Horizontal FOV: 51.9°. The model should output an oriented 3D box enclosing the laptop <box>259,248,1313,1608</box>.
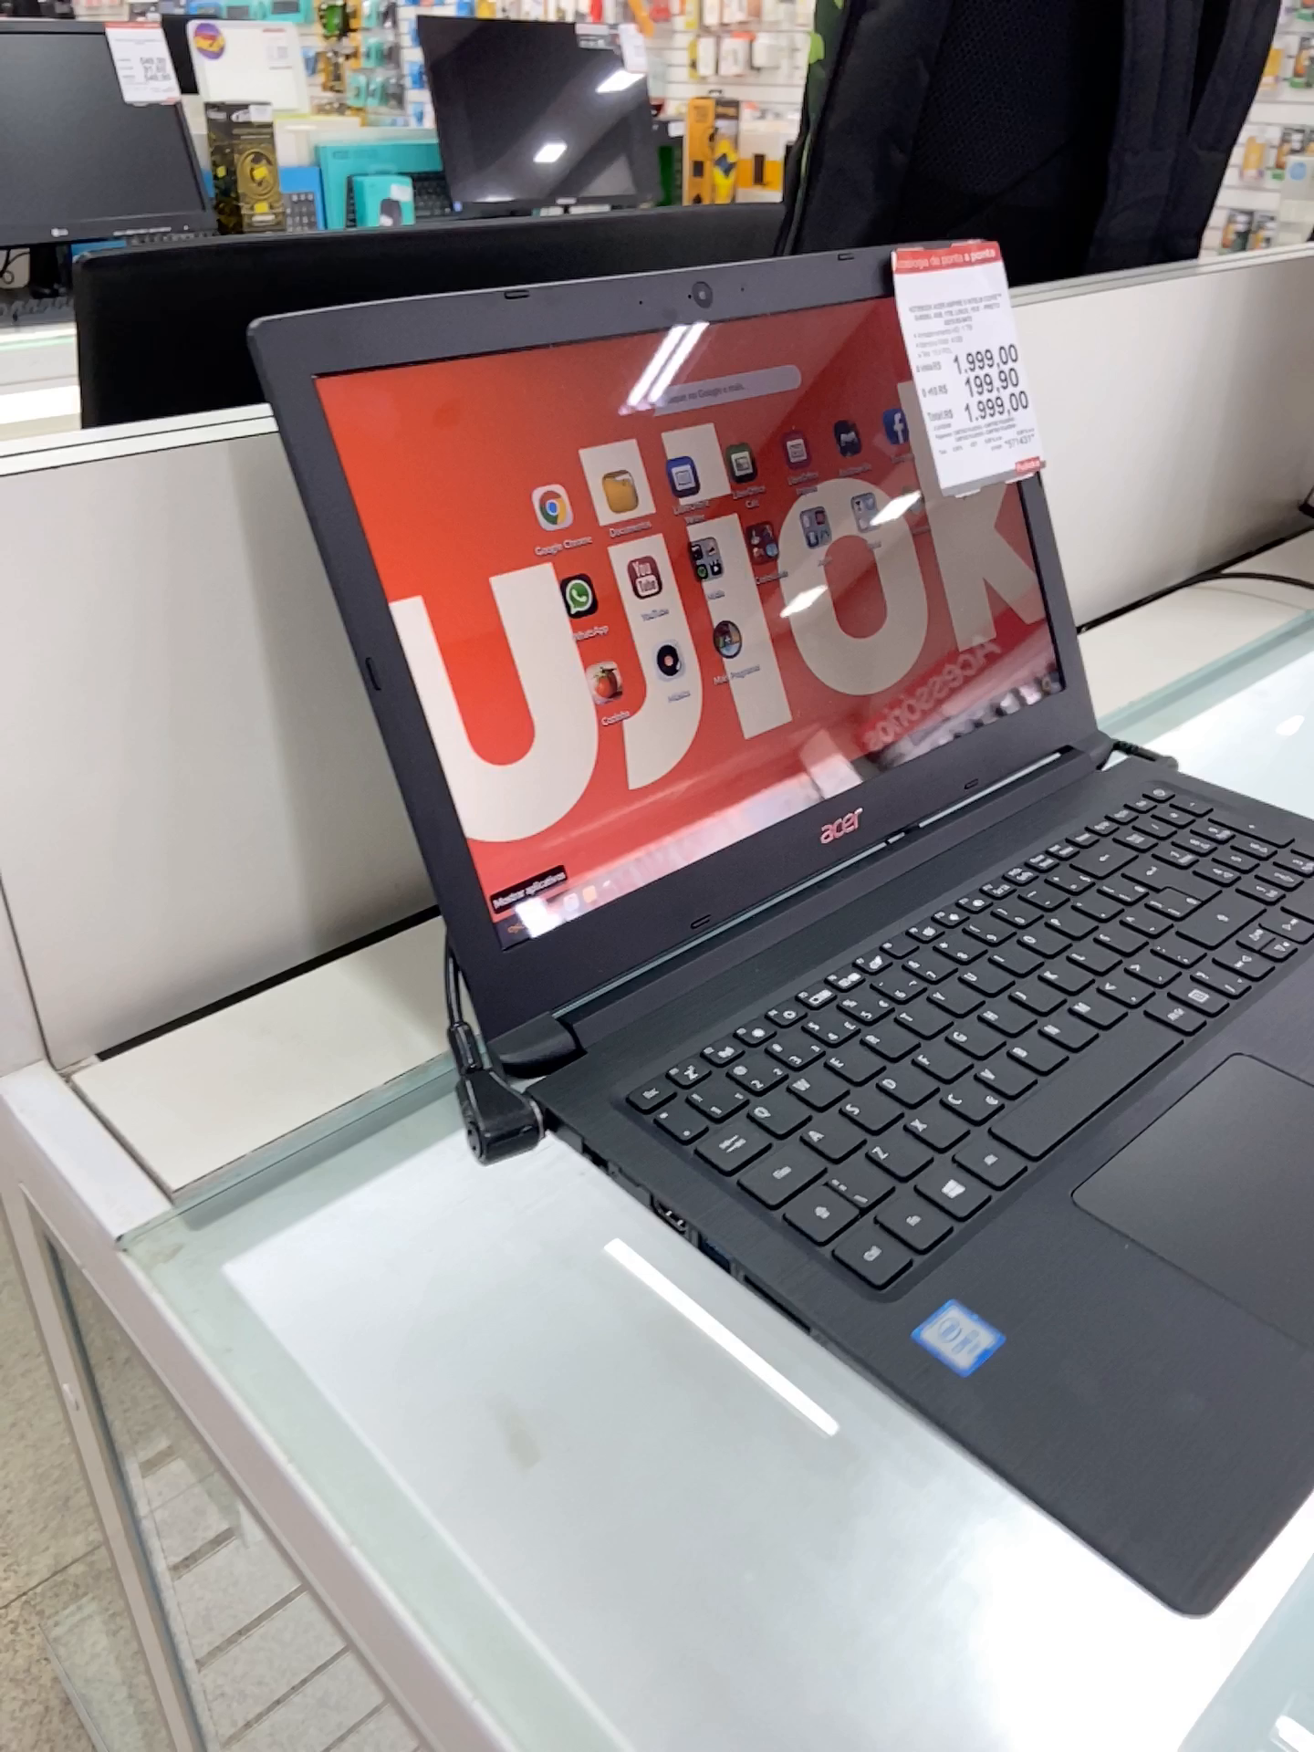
[{"bbox_3d":[0.145,-0.070,0.476,0.393,0.230,0.370,-25,38,-36],"label":"laptop"}]
